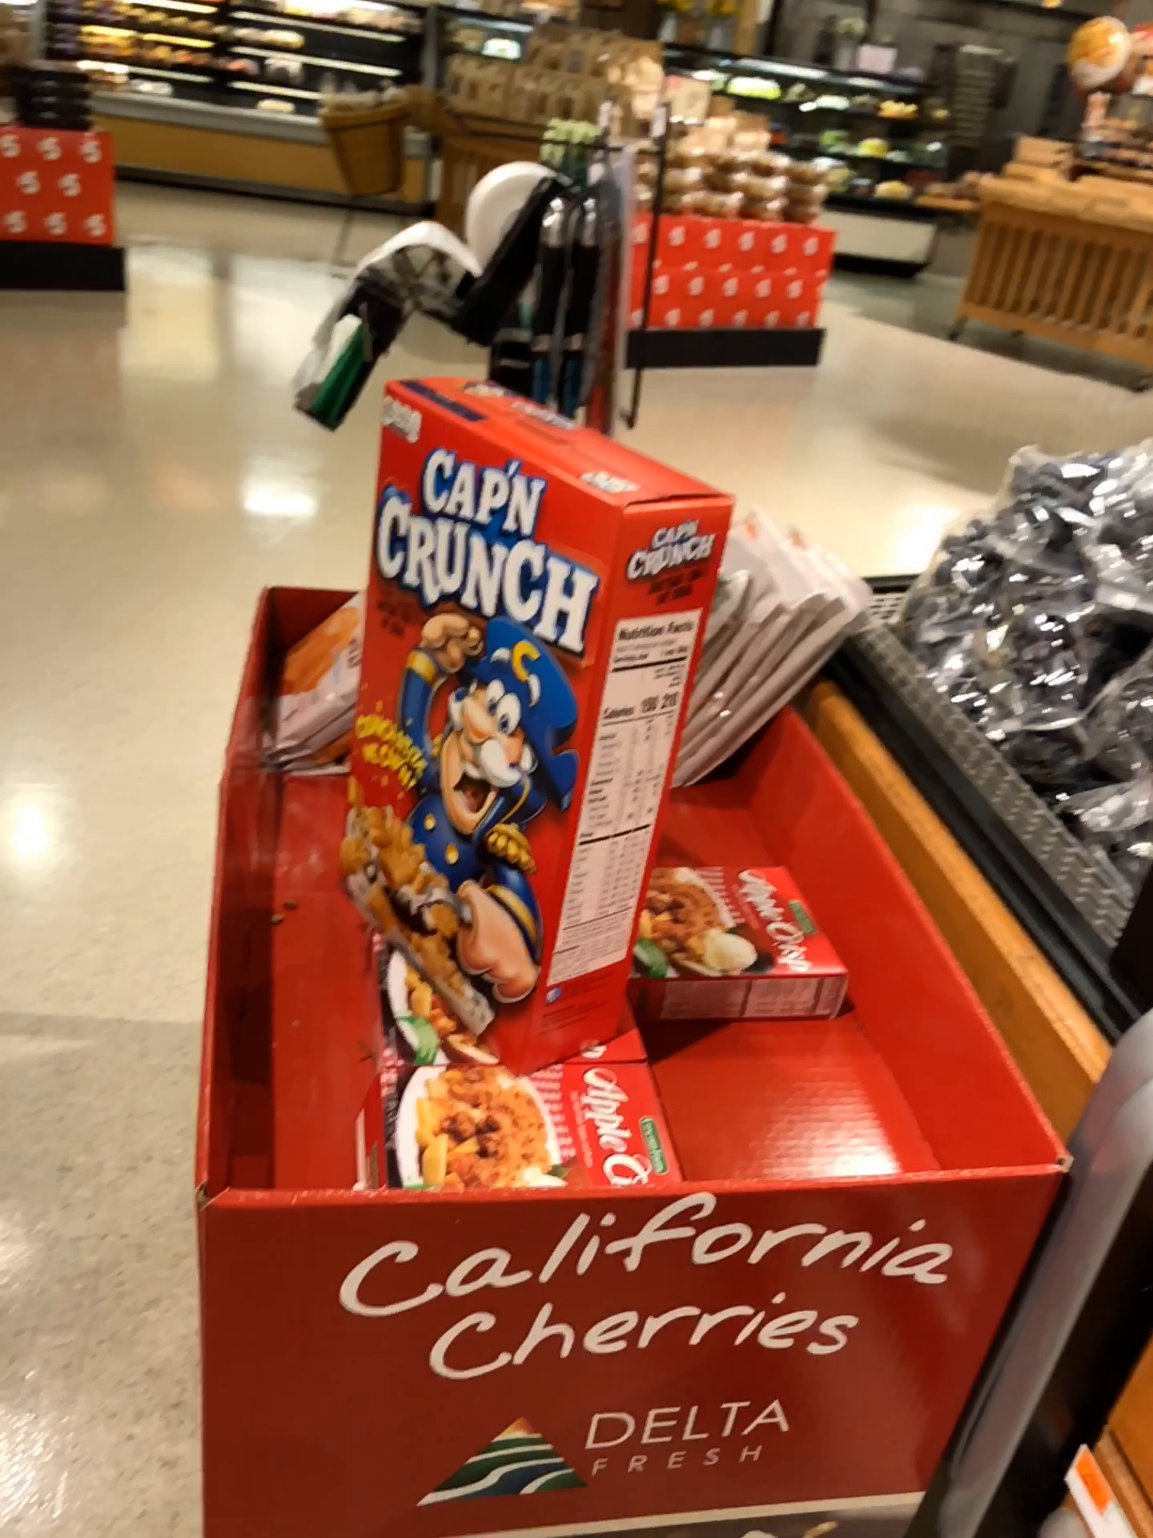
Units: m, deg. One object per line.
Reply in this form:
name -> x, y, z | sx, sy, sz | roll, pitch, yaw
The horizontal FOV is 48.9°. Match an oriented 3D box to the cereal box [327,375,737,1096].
cereal box -> -0.045, -0.024, 0.705 | 0.070, 0.328, 0.221 | -12, 35, -36
